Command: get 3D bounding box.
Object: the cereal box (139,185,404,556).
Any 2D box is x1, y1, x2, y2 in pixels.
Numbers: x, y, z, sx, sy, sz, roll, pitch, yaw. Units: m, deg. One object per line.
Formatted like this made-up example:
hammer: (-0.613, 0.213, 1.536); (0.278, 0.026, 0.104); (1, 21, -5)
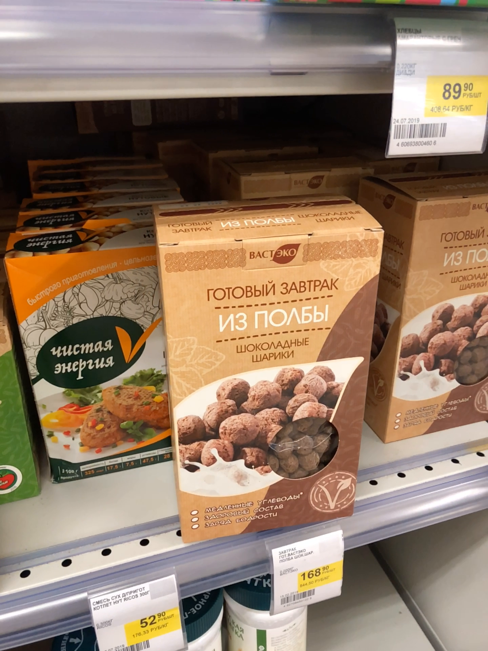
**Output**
cereal box: (0.009, 0.028, 0.342); (0.130, 0.209, 0.080); (-5, 26, -11)
